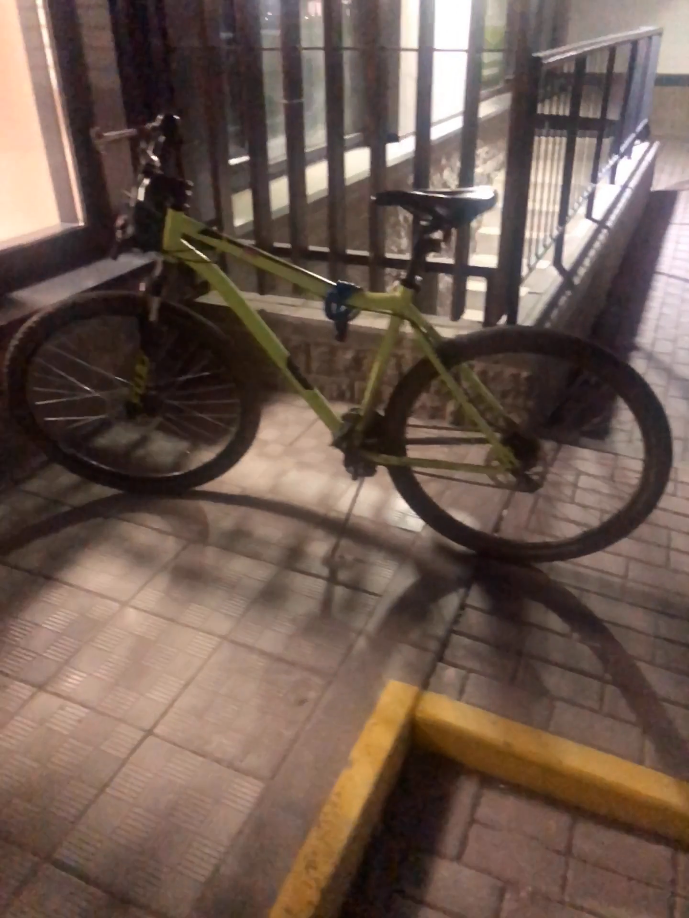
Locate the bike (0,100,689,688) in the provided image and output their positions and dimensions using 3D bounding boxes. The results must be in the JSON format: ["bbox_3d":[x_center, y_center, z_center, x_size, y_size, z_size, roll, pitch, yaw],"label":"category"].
[{"bbox_3d":[-0.103,-0.235,1.865,1.761,1.095,0.722,6,30,11],"label":"bike"}]
